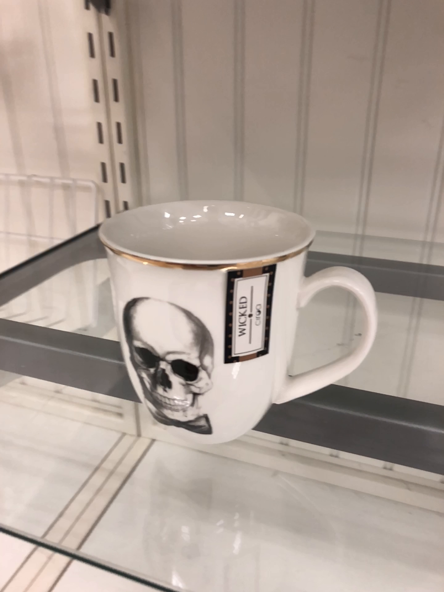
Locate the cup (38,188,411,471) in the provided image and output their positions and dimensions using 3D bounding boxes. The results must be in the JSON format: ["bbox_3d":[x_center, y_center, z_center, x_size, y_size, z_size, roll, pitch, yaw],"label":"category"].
[{"bbox_3d":[0.005,0.006,0.230,0.131,0.088,0.095,4,25,8],"label":"cup"}]
